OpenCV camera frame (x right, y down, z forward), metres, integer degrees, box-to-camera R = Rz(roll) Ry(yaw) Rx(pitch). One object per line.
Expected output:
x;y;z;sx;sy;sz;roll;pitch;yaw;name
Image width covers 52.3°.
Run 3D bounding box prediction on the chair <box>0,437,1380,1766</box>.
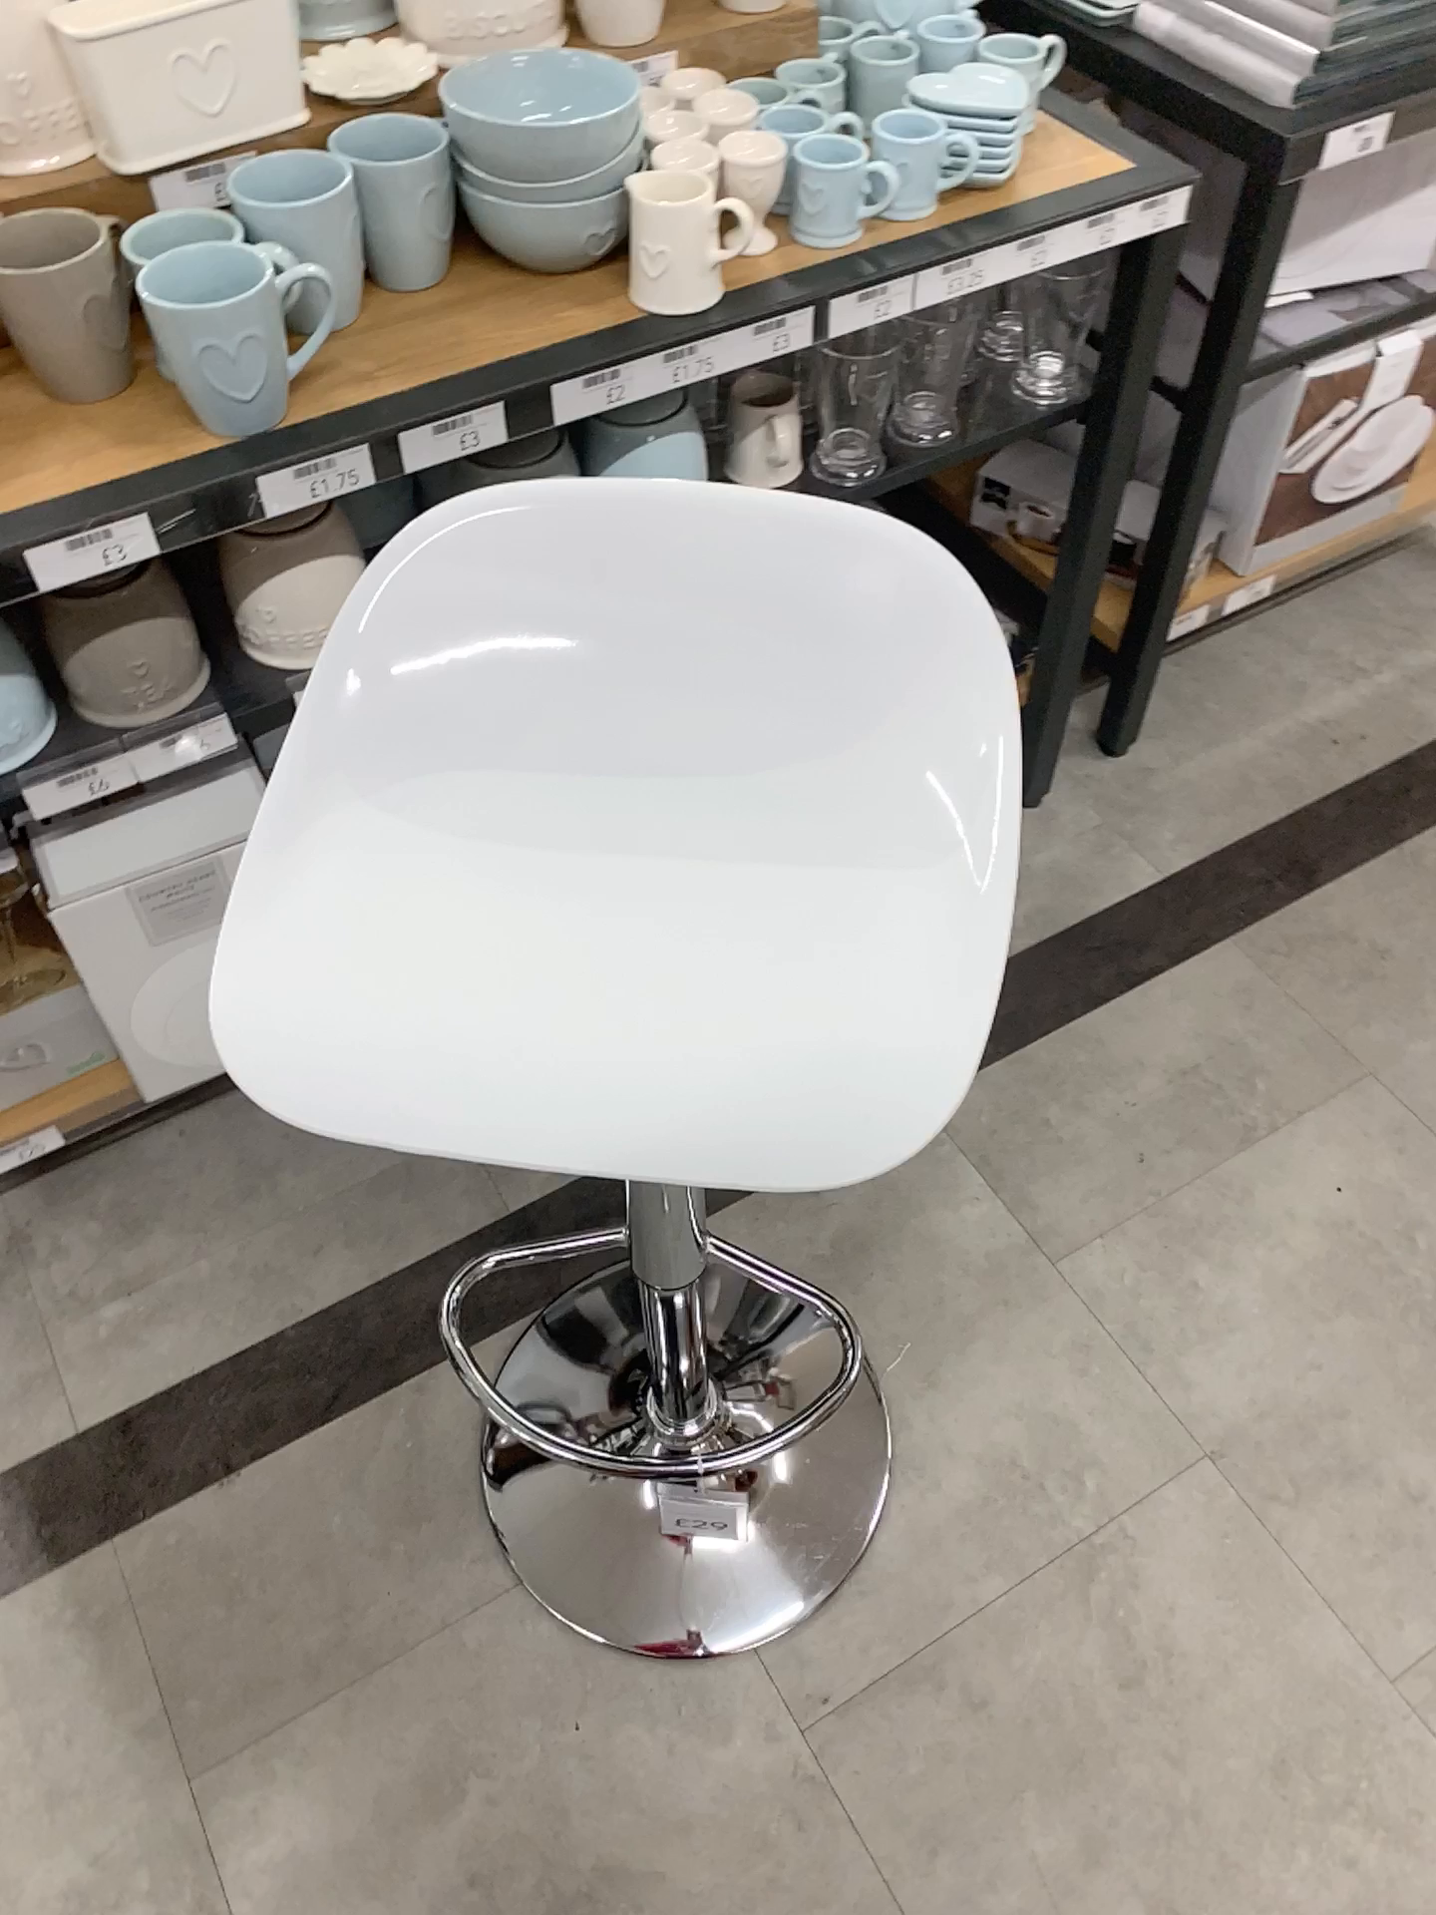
-0.005;0.156;0.951;0.502;0.776;0.473;4;51;4;chair
